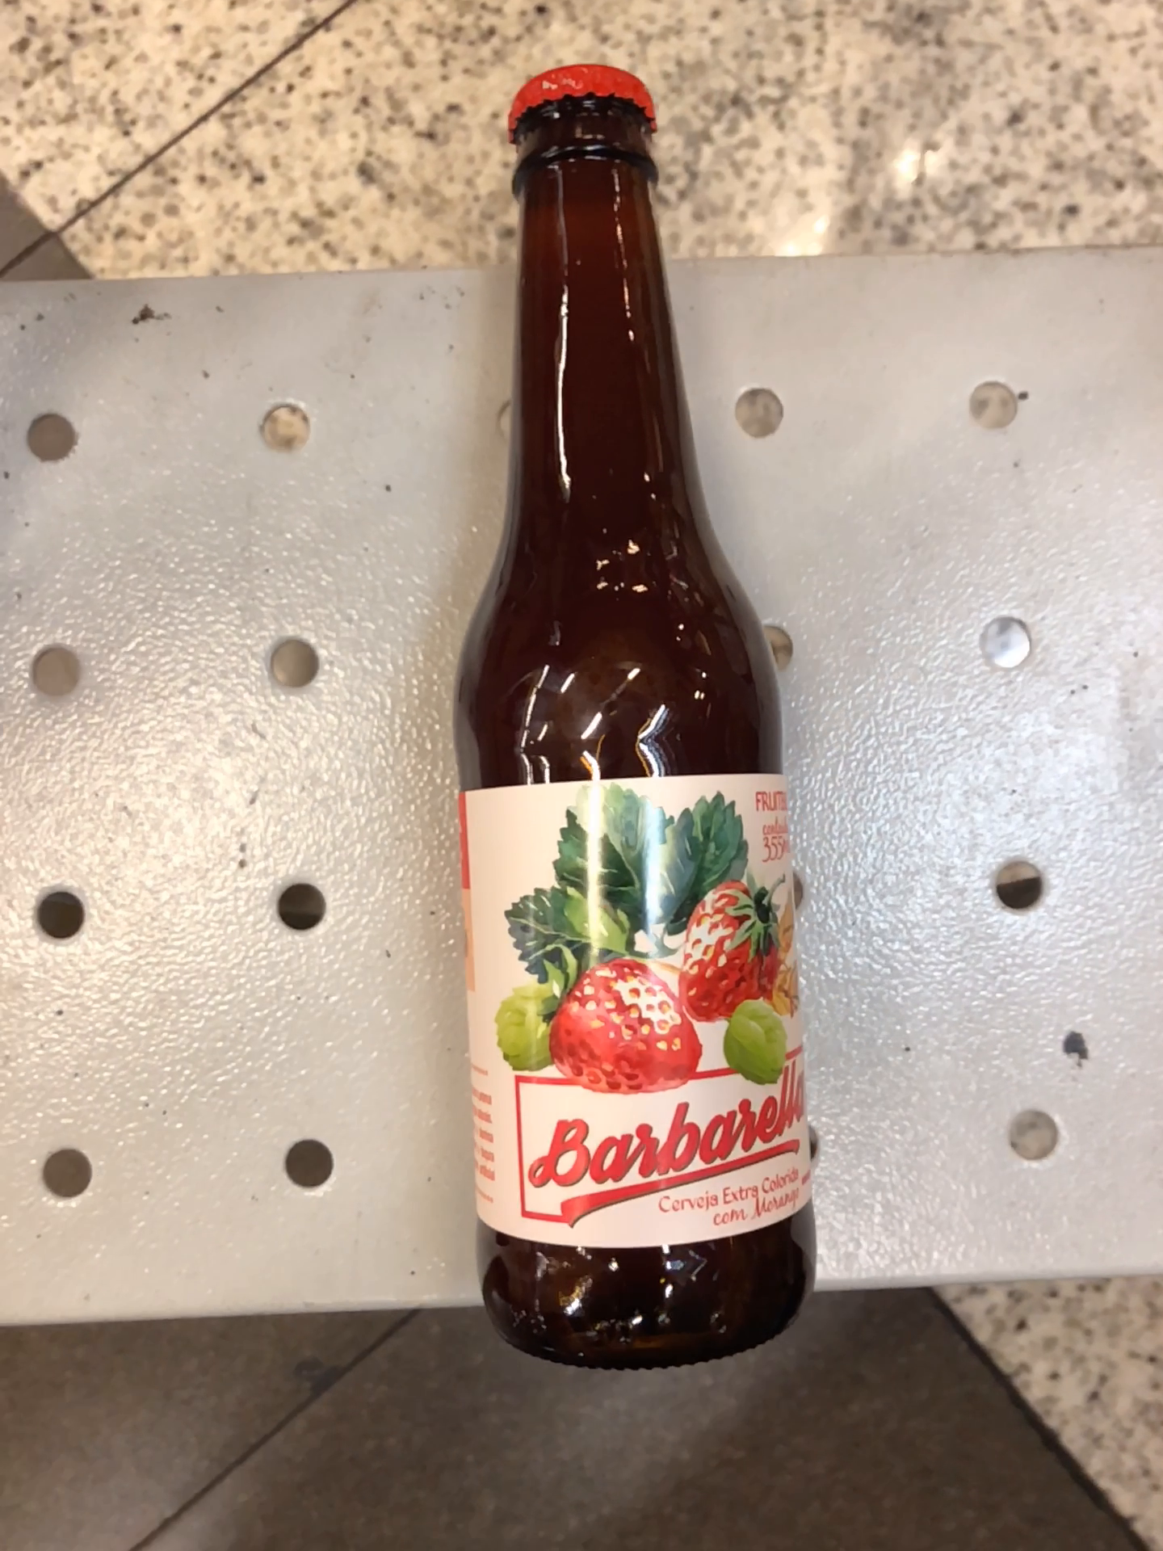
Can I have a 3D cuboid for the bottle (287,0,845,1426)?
[{"bbox_3d":[-0.004,-0.022,0.235,0.070,0.060,0.240,-4,87,-1],"label":"bottle"}]
